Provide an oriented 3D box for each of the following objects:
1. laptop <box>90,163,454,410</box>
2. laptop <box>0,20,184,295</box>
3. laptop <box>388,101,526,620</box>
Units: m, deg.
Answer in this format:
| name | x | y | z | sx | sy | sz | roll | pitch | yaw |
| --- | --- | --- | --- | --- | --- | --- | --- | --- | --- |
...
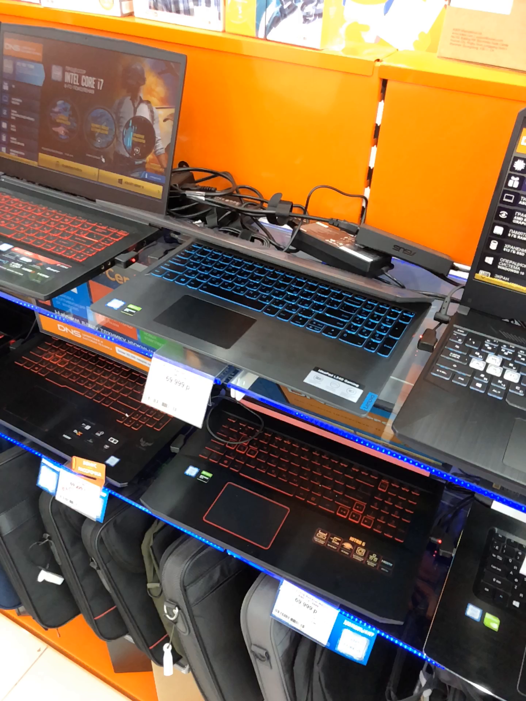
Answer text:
| name | x | y | z | sx | sy | sz | roll | pitch | yaw |
| --- | --- | --- | --- | --- | --- | --- | --- | --- | --- |
| laptop | 0.014 | -0.103 | 0.697 | 0.348 | 0.117 | 0.241 | 20 | 40 | 23 |
| laptop | -0.352 | -0.307 | 0.837 | 0.348 | 0.228 | 0.326 | 21 | 39 | 20 |
| laptop | 0.369 | -0.033 | 0.515 | 0.384 | 0.250 | 0.278 | 21 | 40 | 23 |
